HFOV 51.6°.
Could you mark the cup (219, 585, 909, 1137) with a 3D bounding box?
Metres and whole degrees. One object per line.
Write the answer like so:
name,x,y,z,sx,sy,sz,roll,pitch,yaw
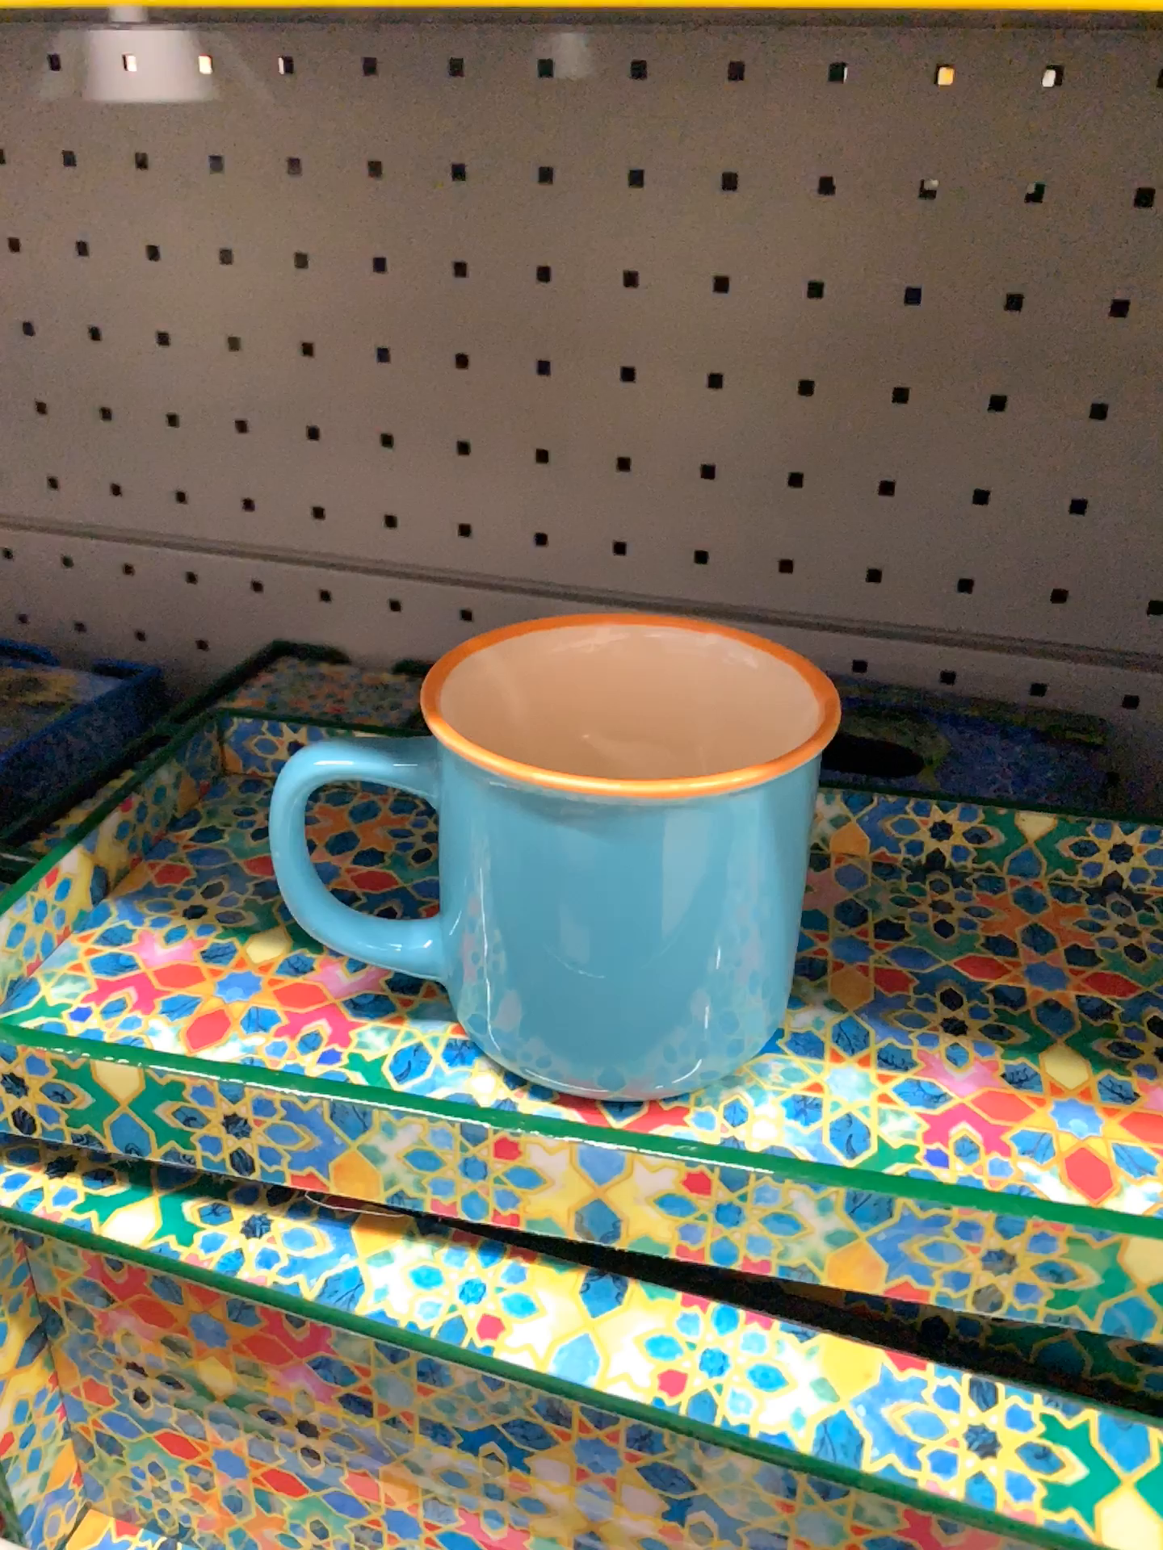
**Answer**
cup,-0.002,0.013,0.267,0.120,0.080,0.090,3,28,3
